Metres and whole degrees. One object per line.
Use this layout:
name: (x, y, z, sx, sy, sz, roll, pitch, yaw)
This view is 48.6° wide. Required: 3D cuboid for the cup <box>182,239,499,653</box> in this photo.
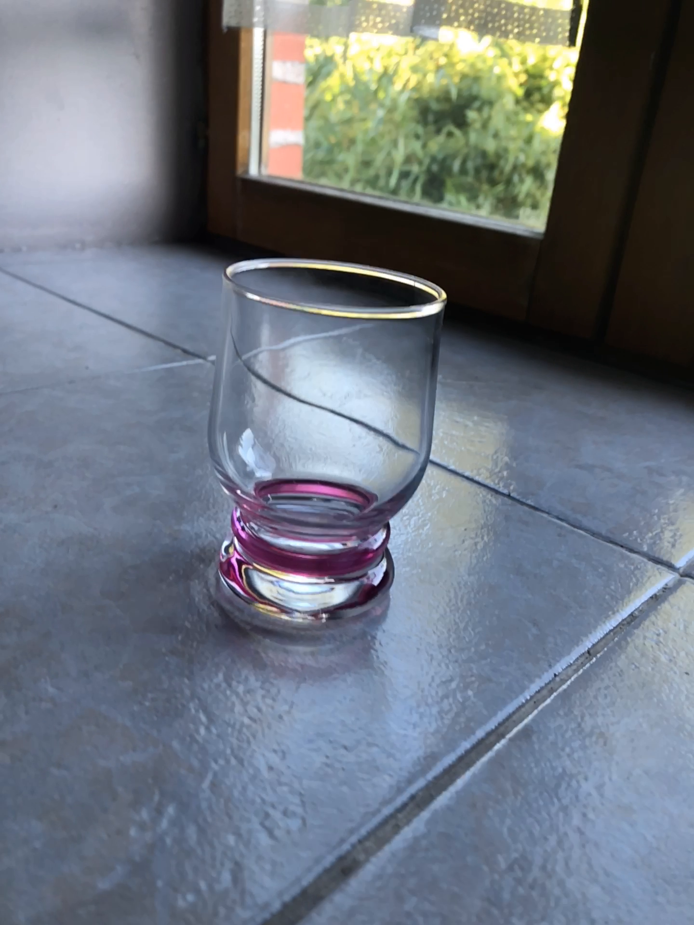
cup: (-0.002, -0.010, 0.250, 0.079, 0.102, 0.079, 6, 25, -3)
